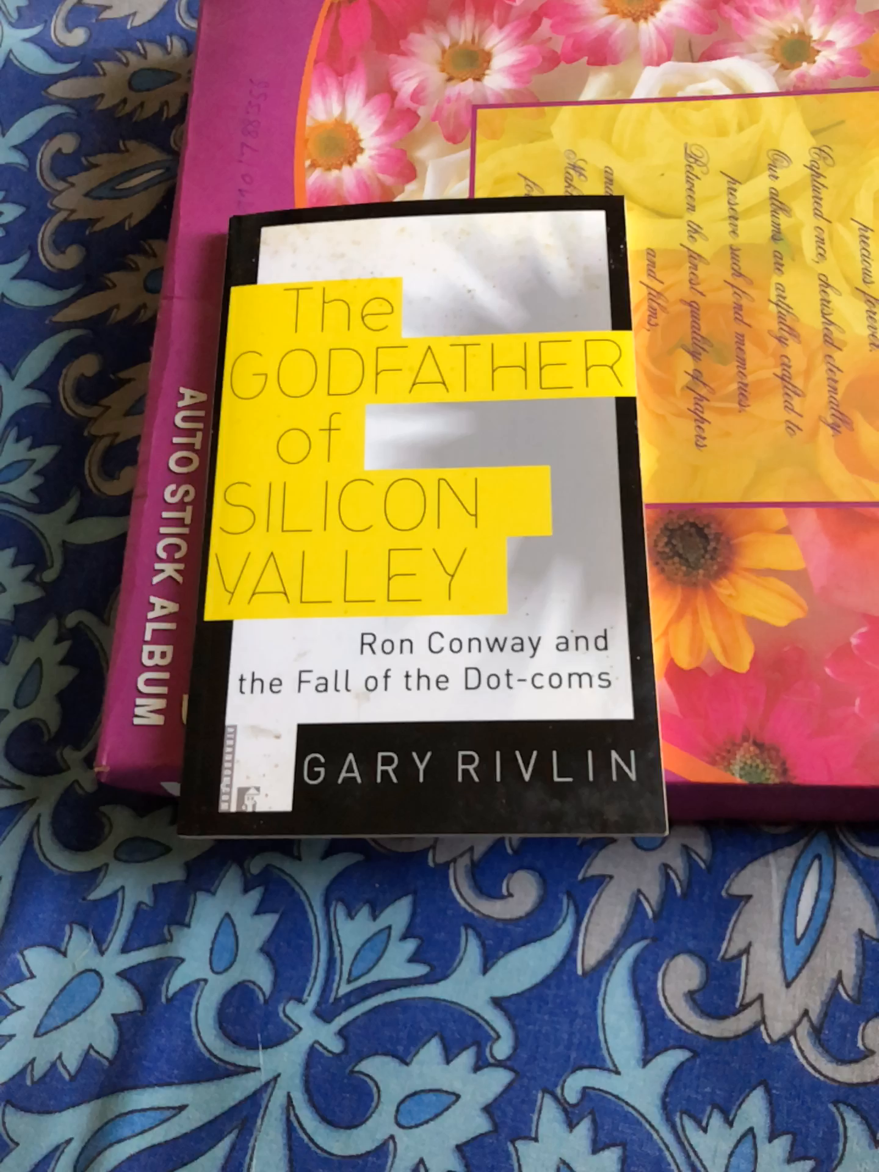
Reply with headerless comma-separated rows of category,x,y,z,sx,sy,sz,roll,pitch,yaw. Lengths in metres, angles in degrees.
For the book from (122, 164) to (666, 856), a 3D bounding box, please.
book,-0.012,-0.030,0.310,0.150,0.020,0.220,0,74,4
